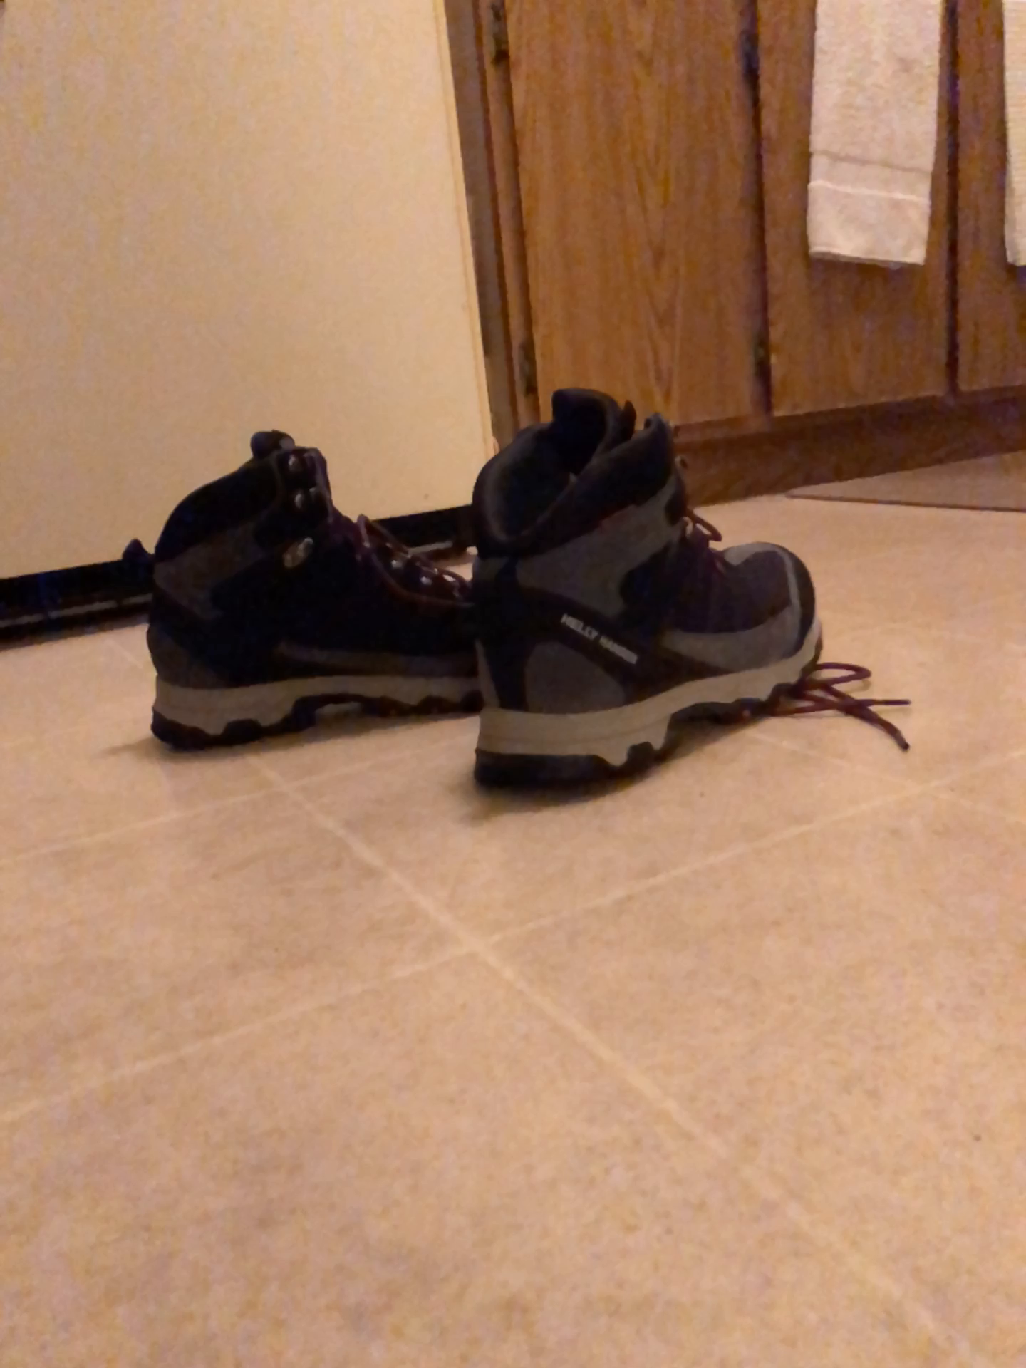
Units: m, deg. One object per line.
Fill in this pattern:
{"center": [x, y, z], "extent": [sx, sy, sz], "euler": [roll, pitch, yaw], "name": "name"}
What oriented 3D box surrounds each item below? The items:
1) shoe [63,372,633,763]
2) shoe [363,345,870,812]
{"center": [-0.095, -0.082, 0.723], "extent": [0.309, 0.195, 0.127], "euler": [-7, 14, -5], "name": "shoe"}
{"center": [0.079, -0.079, 0.640], "extent": [0.116, 0.195, 0.300], "euler": [7, 19, 42], "name": "shoe"}
